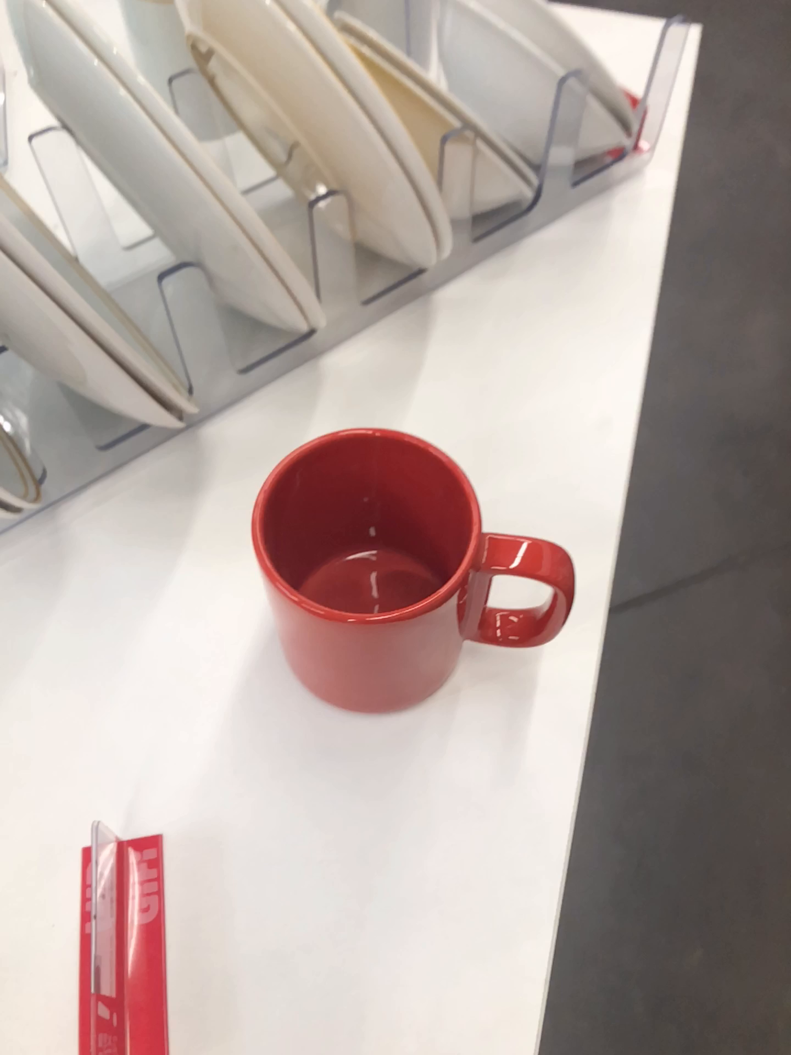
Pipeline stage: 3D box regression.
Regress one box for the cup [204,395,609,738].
[{"bbox_3d":[0.008,0.016,0.338,0.129,0.082,0.091,5,58,3],"label":"cup"}]
